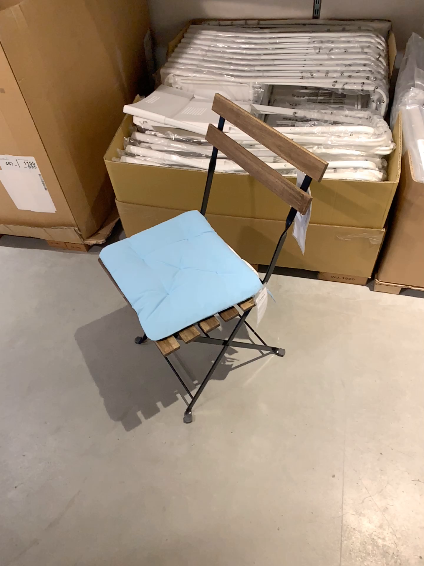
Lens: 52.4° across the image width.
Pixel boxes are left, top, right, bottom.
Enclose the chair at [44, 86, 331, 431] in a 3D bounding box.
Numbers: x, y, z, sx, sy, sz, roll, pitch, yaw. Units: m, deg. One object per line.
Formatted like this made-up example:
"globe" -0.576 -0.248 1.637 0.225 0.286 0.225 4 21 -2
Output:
"chair" -0.036 -0.027 1.181 0.460 0.738 0.401 -30 54 -18
